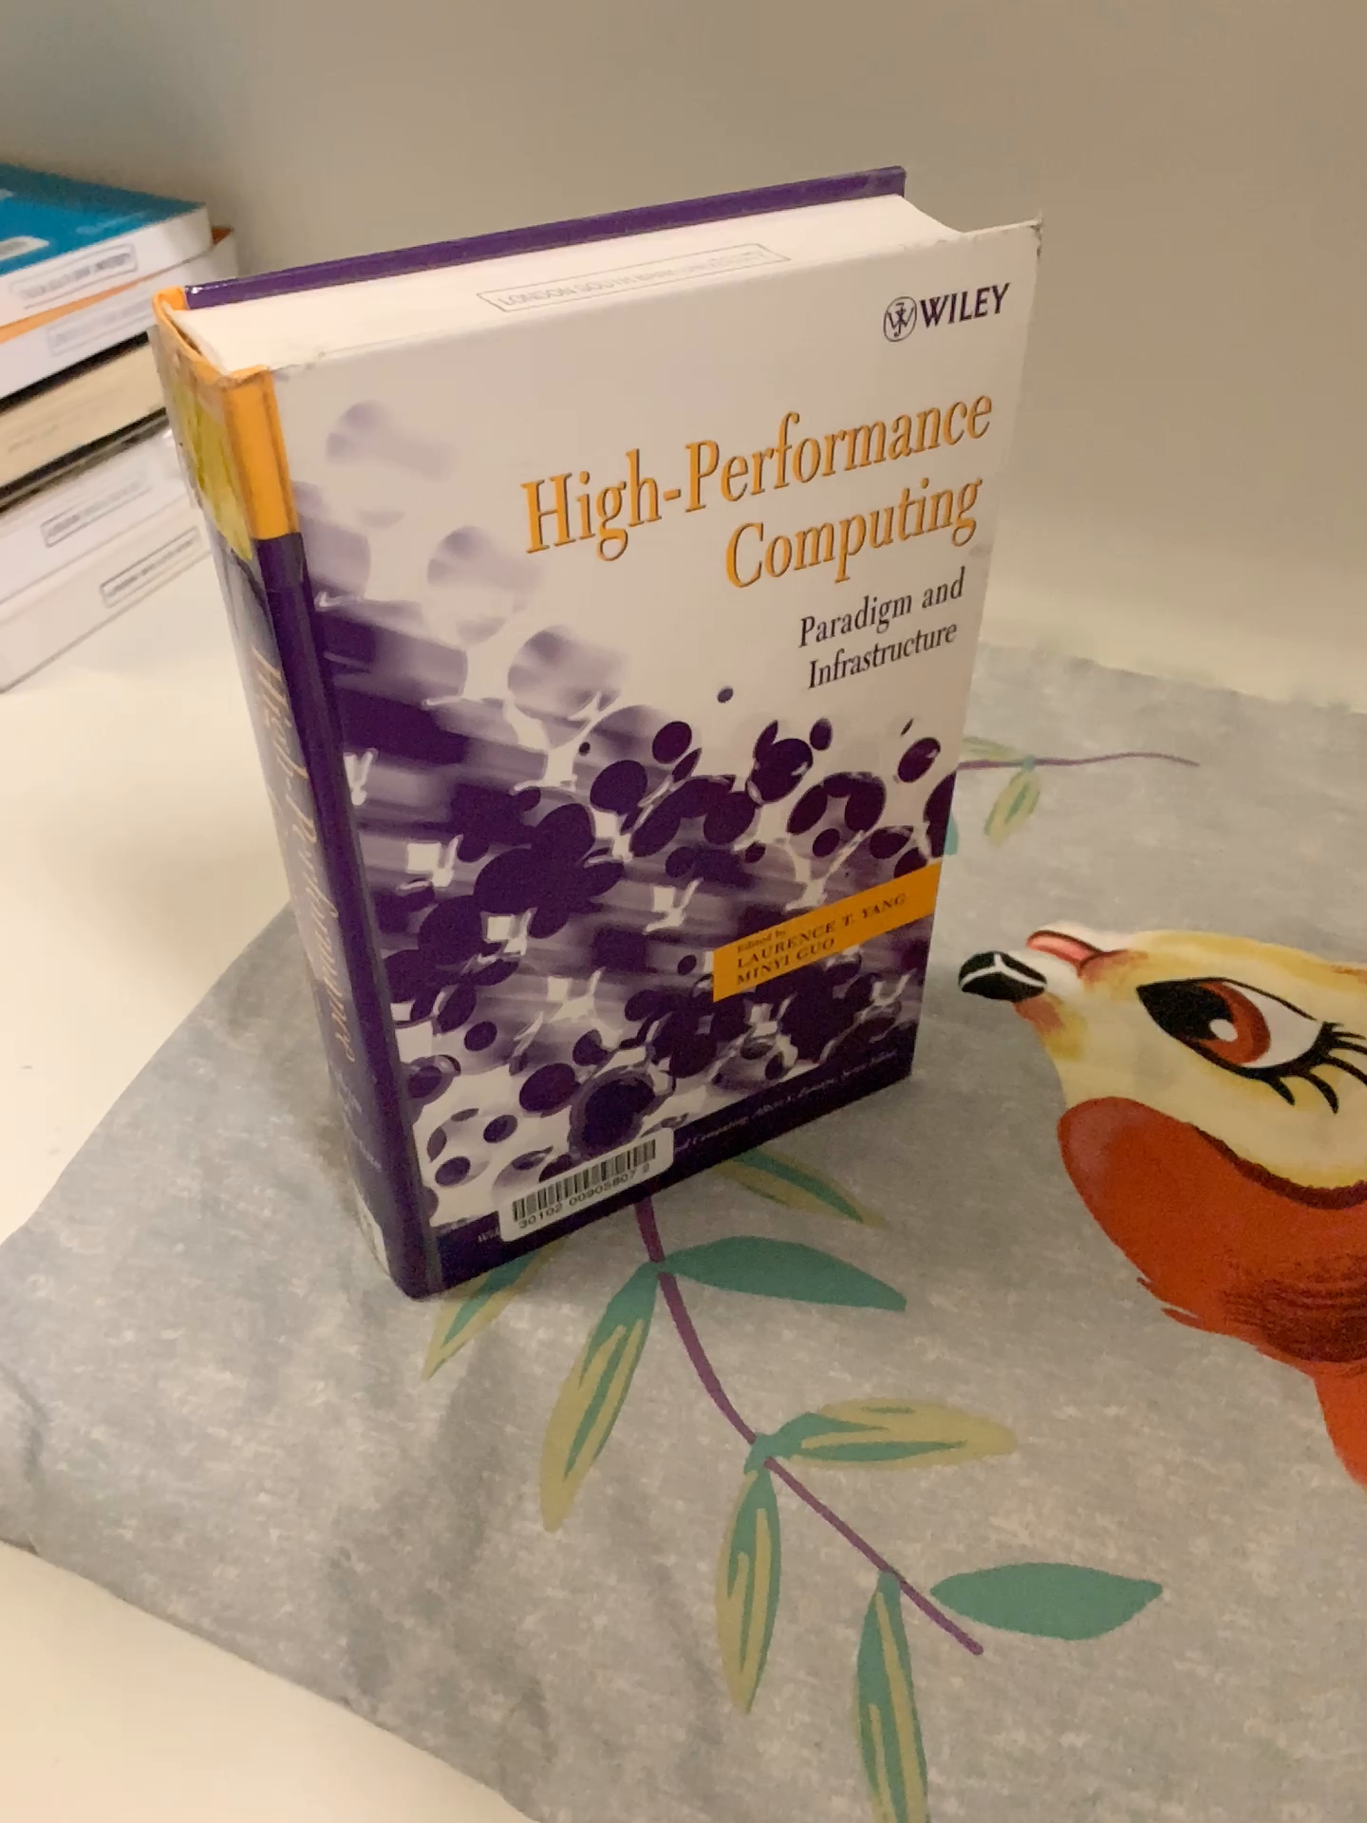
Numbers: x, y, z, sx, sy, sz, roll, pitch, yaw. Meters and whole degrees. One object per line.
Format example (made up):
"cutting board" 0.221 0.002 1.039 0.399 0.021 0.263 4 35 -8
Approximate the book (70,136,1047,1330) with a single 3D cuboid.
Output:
"book" -0.016 -0.029 0.327 0.168 0.243 0.049 -20 43 -23
